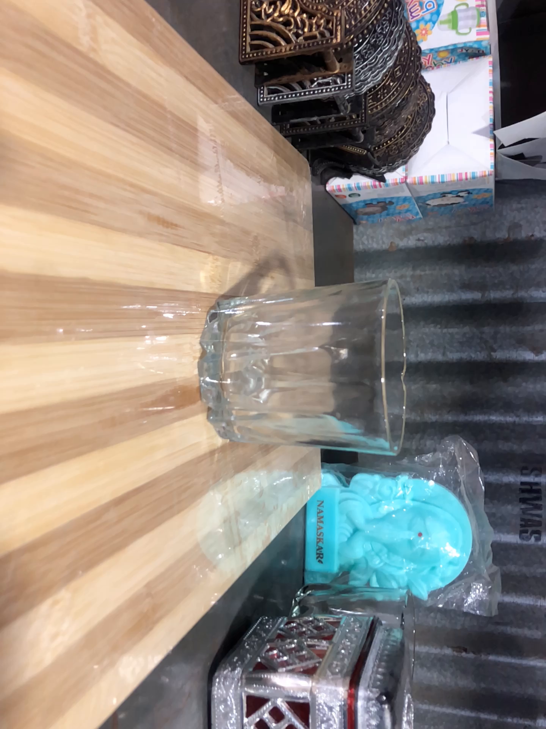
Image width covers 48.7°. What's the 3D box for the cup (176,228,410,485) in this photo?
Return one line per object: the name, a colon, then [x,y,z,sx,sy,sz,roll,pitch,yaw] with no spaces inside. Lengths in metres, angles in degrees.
cup: [0.017,-0.001,0.274,0.080,0.080,0.080,-1,90,-73]
